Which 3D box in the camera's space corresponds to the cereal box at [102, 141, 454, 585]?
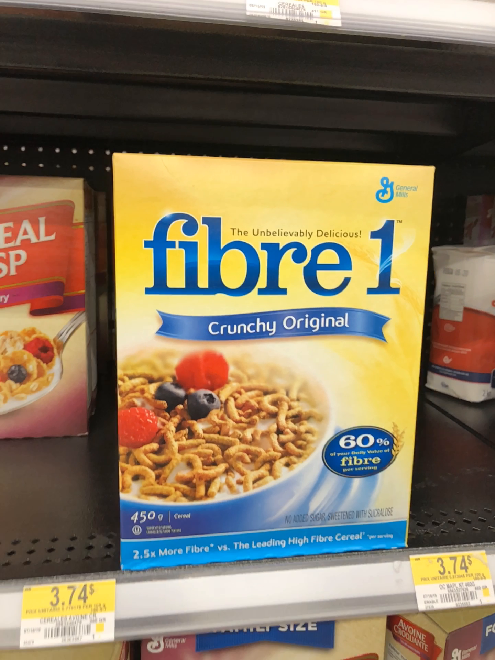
[{"bbox_3d":[0.014,0.022,0.357,0.200,0.259,0.060,0,11,-9],"label":"cereal box"}]
